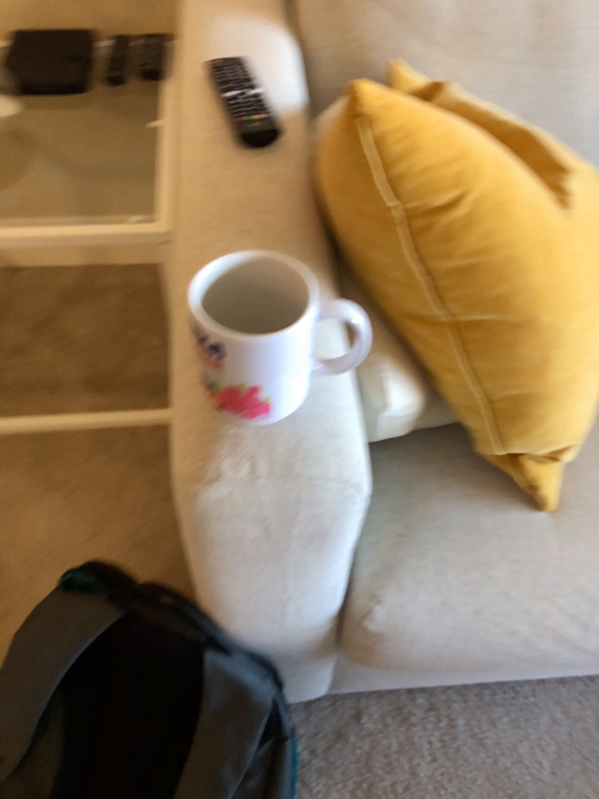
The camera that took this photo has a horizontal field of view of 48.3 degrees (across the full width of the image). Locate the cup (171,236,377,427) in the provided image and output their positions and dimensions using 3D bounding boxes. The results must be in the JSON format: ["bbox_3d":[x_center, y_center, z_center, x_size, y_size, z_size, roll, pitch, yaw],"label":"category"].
[{"bbox_3d":[-0.017,-0.044,0.454,0.120,0.100,0.080,1,52,-2],"label":"cup"}]
